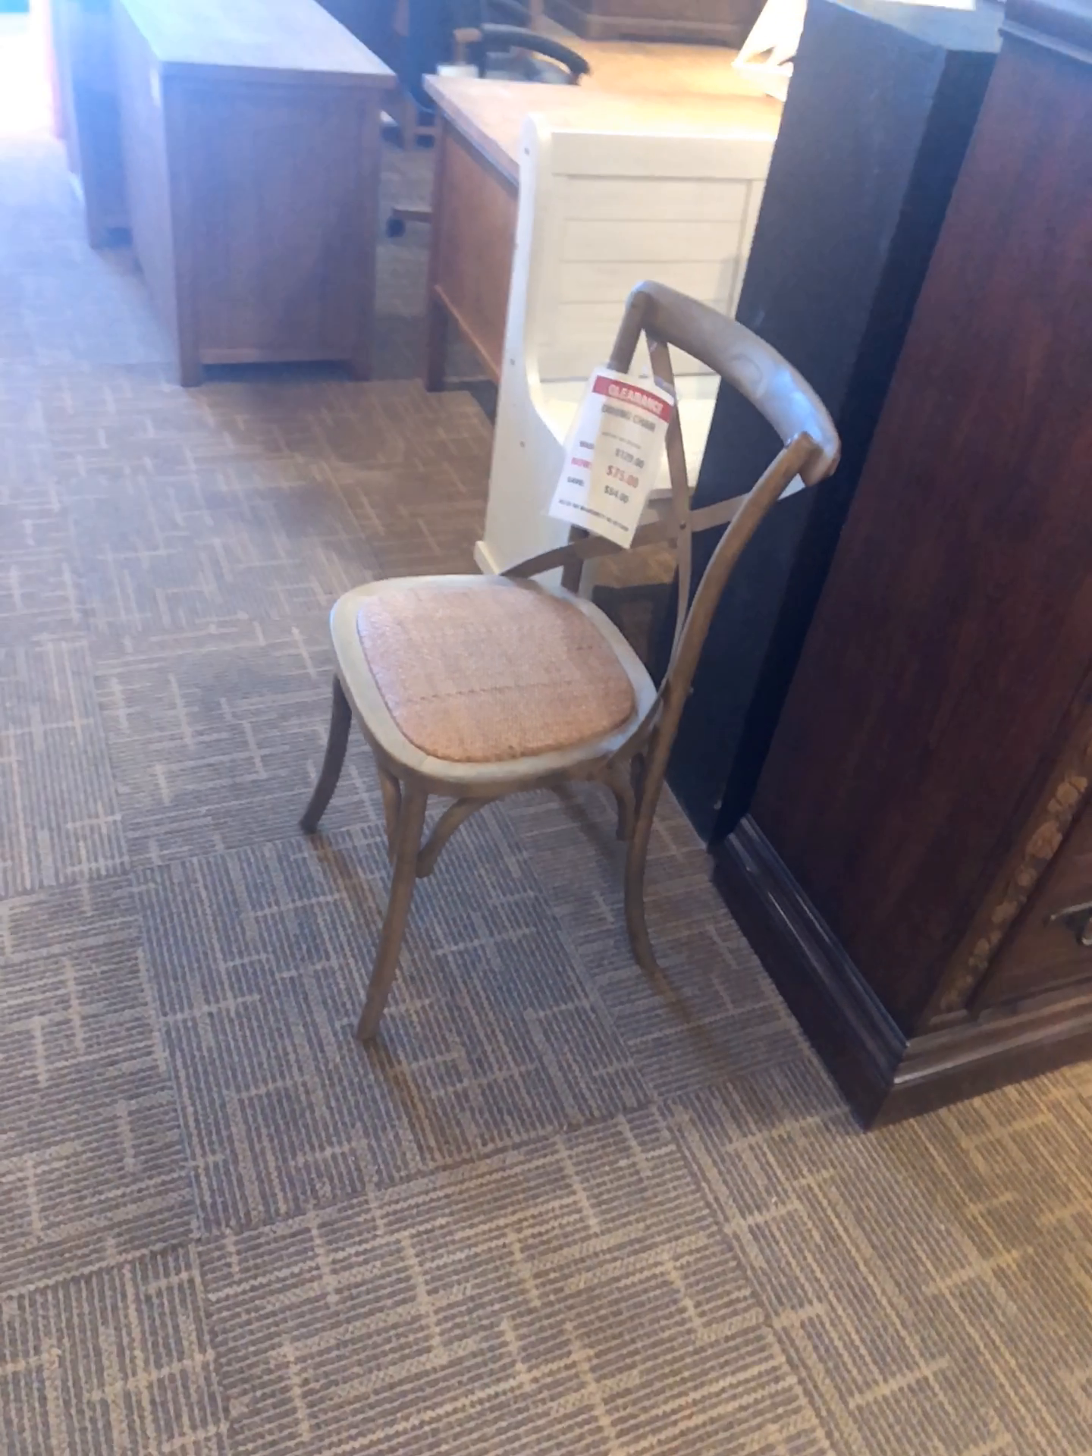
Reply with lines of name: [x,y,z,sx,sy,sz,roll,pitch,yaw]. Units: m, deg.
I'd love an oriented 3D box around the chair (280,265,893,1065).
chair: [-0.033,-0.075,1.554,0.530,0.860,0.492,-7,42,-19]
